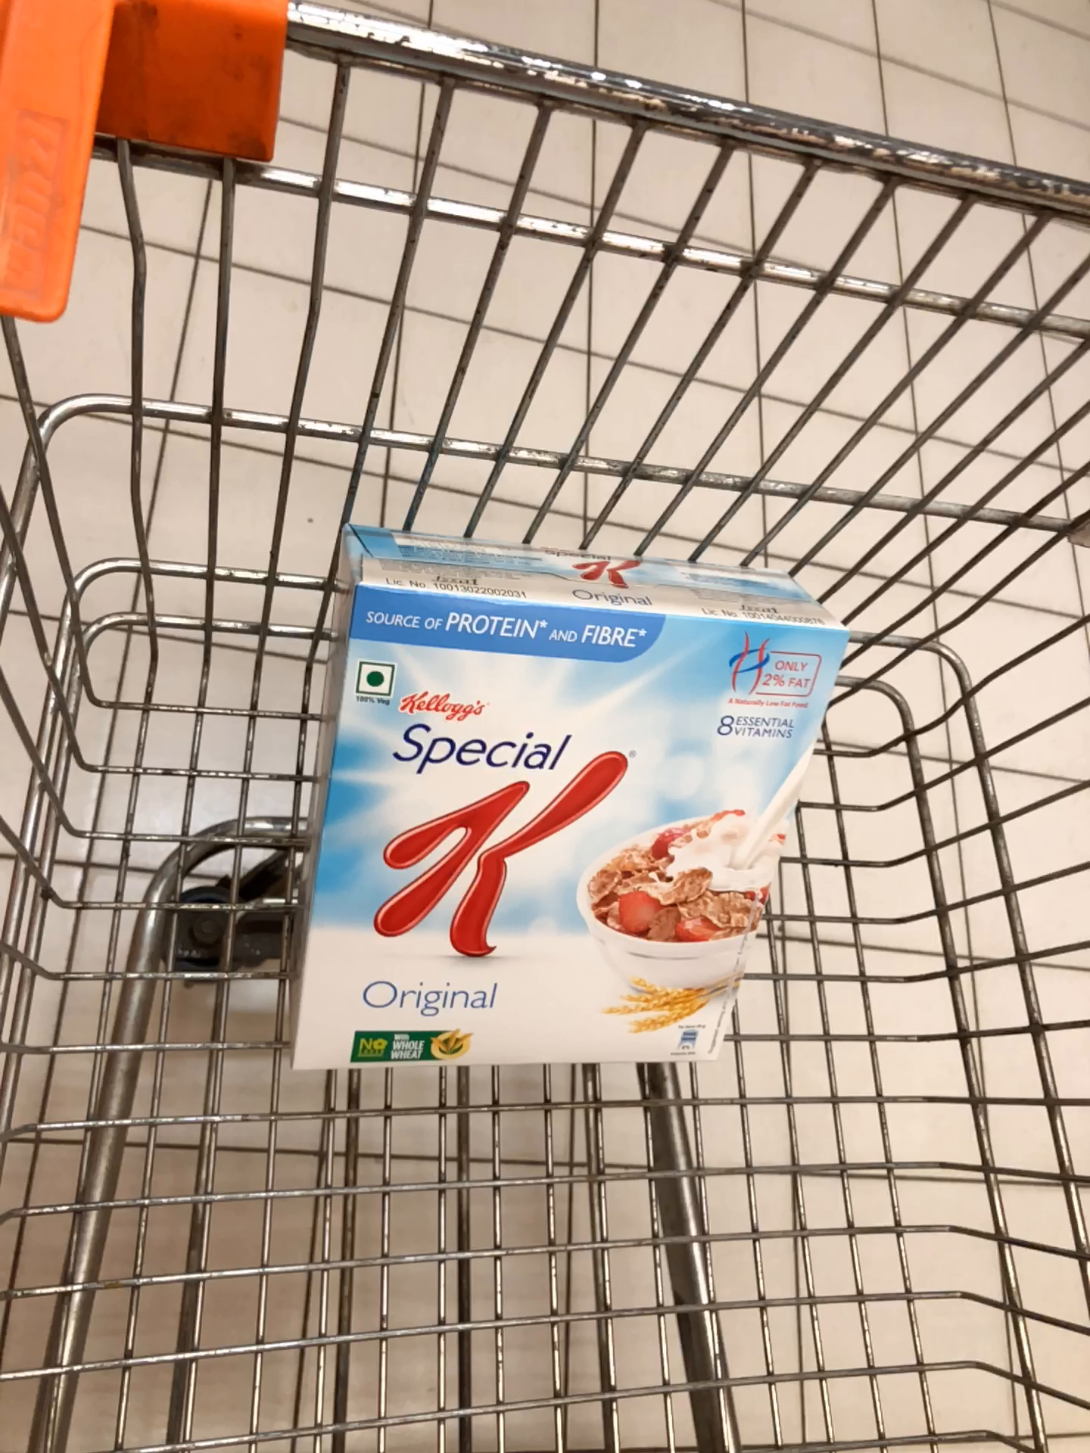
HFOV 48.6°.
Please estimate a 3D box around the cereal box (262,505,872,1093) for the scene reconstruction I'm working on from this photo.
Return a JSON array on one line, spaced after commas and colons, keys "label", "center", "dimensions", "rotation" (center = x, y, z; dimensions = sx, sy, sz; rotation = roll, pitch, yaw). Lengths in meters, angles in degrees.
[{"label": "cereal box", "center": [-0.002, 0.036, 0.474], "dimensions": [0.190, 0.209, 0.070], "rotation": [3, 26, -18]}]
